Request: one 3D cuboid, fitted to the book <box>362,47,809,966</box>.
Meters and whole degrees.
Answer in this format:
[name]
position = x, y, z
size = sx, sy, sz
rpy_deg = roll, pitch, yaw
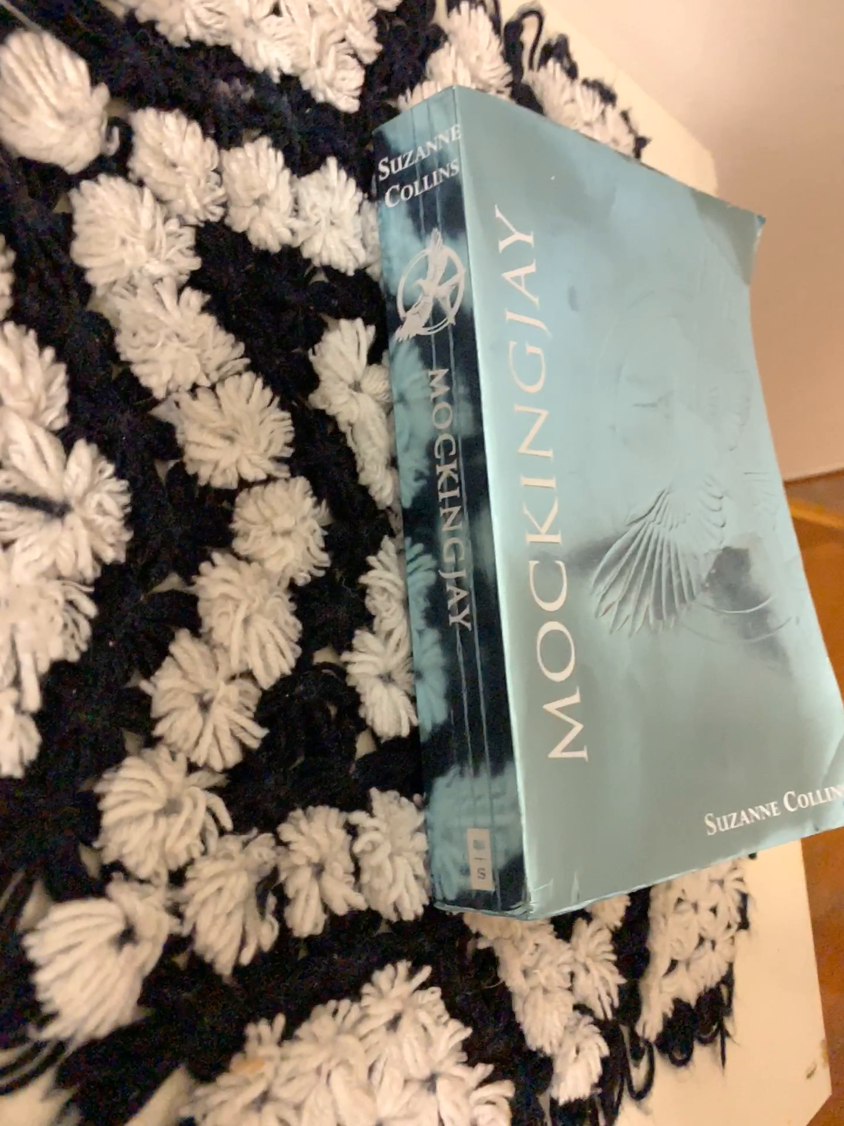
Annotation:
[book]
position = 0.052, -0.013, 0.244
size = 0.137, 0.036, 0.193
rpy_deg = 3, 80, -48
